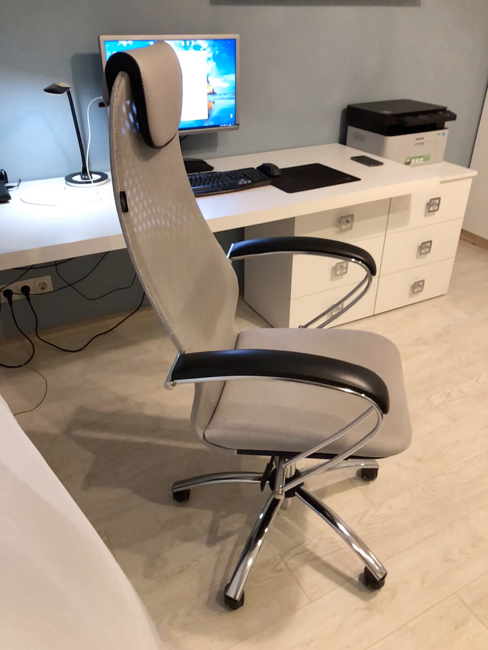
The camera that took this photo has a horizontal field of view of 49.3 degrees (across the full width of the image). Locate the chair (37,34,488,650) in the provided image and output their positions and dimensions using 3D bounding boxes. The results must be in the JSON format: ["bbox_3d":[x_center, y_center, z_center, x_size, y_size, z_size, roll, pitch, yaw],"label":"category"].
[{"bbox_3d":[0.098,0.046,1.304,0.680,1.291,0.695,5,31,7],"label":"chair"}]
